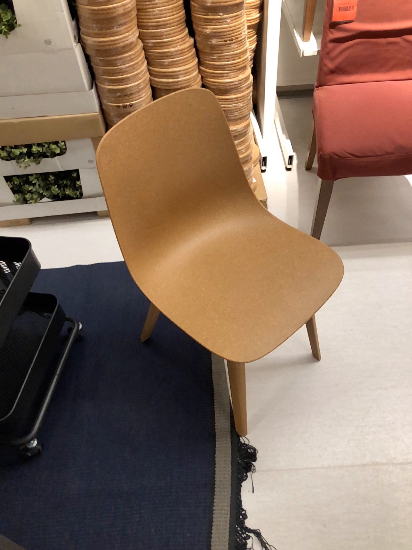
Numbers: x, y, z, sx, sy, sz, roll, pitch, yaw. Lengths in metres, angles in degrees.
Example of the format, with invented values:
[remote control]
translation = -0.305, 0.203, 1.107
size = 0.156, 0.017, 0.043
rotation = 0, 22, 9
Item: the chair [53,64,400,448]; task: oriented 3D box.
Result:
[chair]
translation = 0.045, -0.021, 1.202
size = 0.441, 0.746, 0.552
rotation = -38, 58, -23
